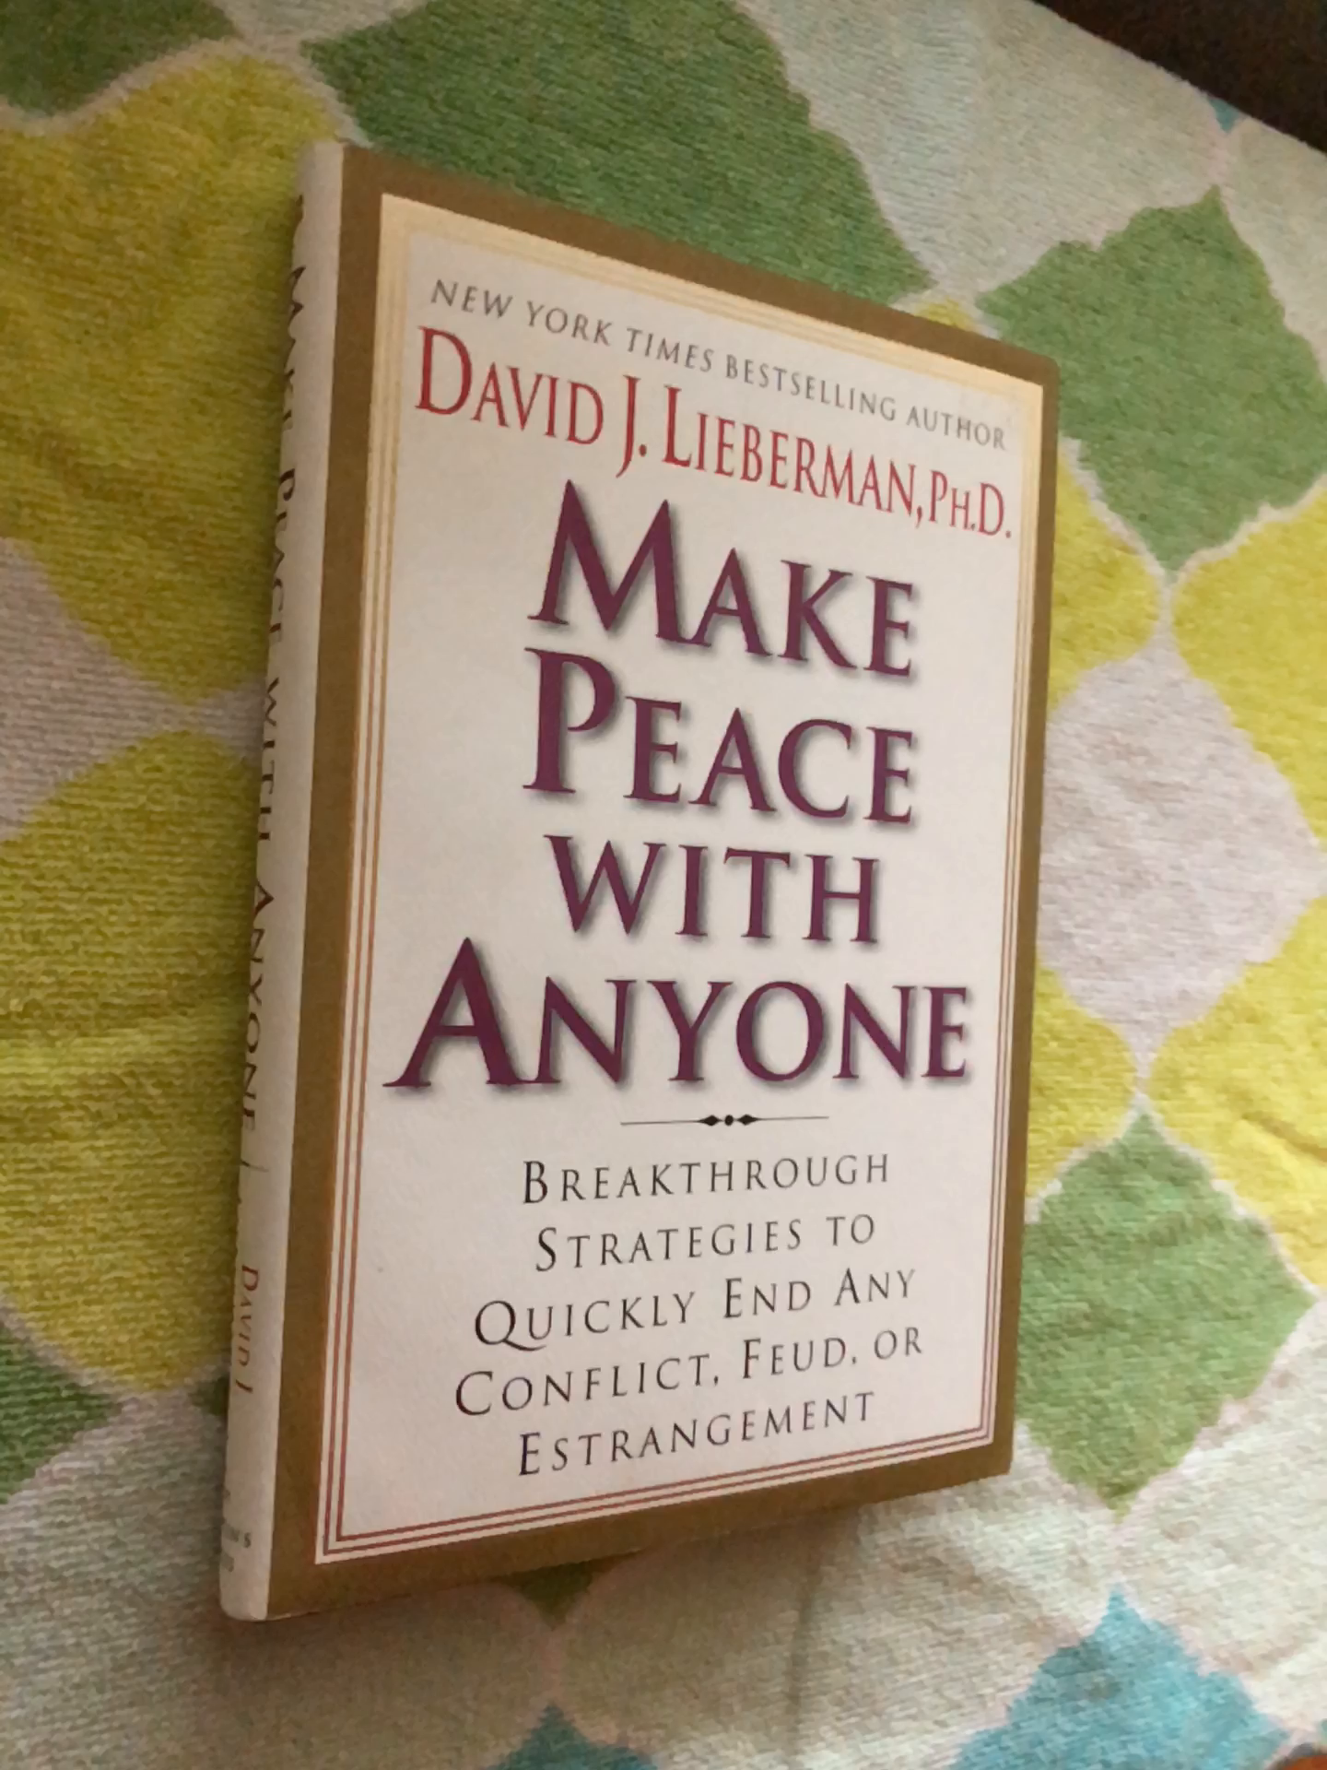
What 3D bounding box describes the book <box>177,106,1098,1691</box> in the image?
[{"bbox_3d":[0.004,0.003,0.239,0.146,0.030,0.204,3,87,-29],"label":"book"}]
